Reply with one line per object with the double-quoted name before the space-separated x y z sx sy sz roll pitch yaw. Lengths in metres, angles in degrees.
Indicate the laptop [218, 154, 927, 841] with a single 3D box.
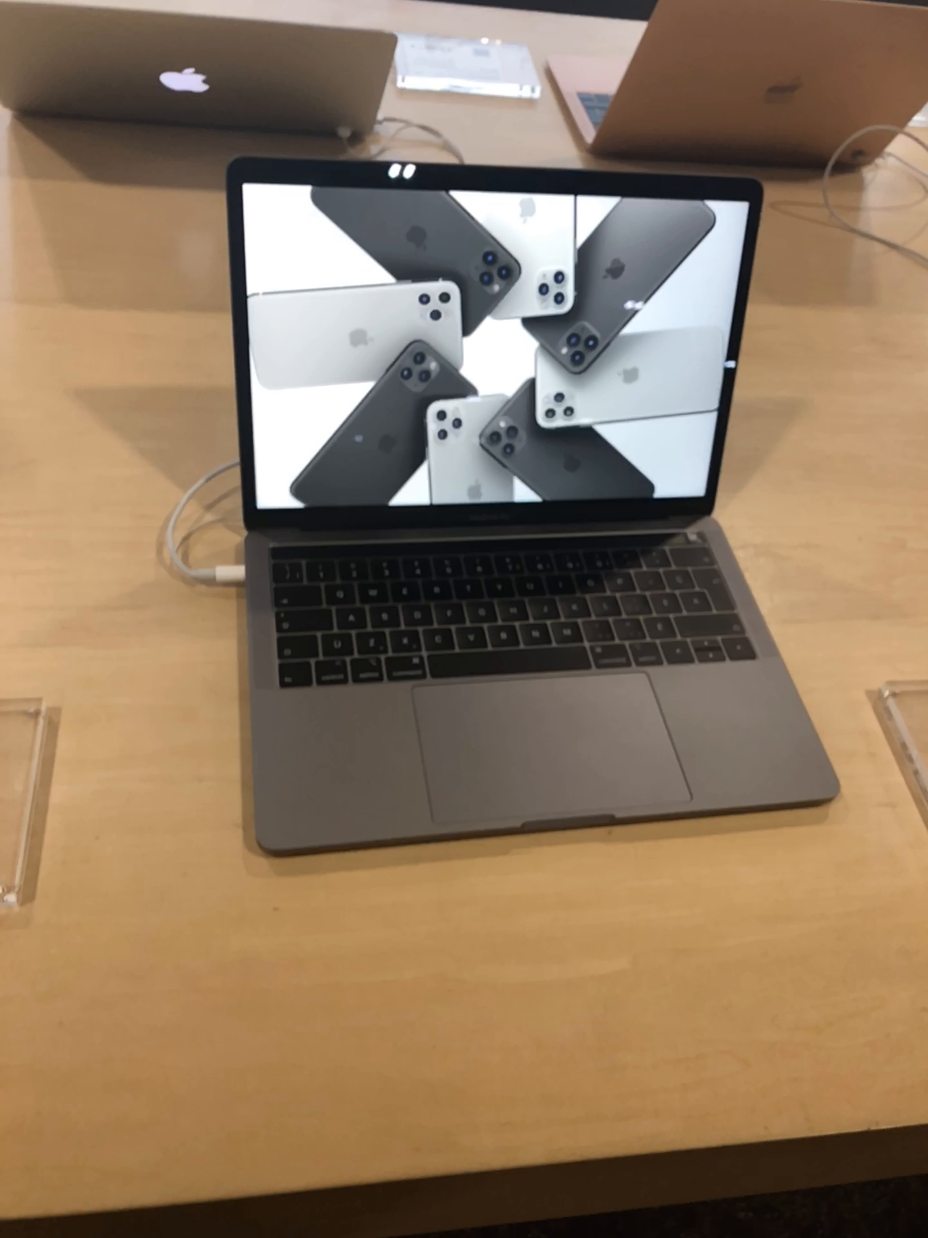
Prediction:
"laptop" 0.035 -0.072 0.531 0.296 0.181 0.296 -3 49 -13
